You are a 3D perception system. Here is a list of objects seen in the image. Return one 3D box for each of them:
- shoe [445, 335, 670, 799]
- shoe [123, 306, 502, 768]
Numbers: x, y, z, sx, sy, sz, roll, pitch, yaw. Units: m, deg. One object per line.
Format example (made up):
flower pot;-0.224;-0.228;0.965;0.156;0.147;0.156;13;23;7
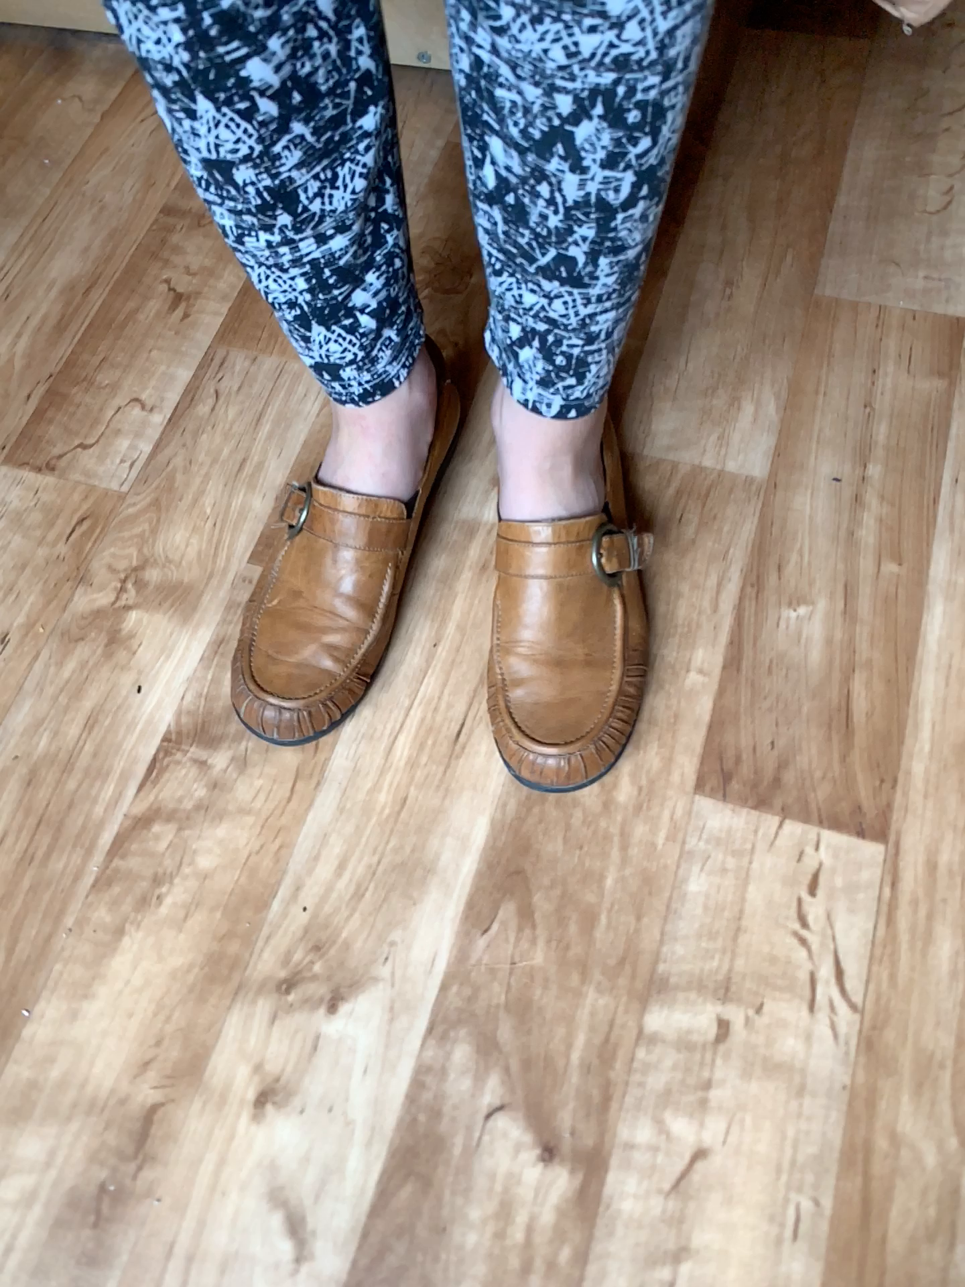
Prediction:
shoe;0.033;-0.035;0.427;0.080;0.070;0.190;-1;63;6
shoe;-0.067;-0.053;0.450;0.080;0.070;0.190;18;66;15
